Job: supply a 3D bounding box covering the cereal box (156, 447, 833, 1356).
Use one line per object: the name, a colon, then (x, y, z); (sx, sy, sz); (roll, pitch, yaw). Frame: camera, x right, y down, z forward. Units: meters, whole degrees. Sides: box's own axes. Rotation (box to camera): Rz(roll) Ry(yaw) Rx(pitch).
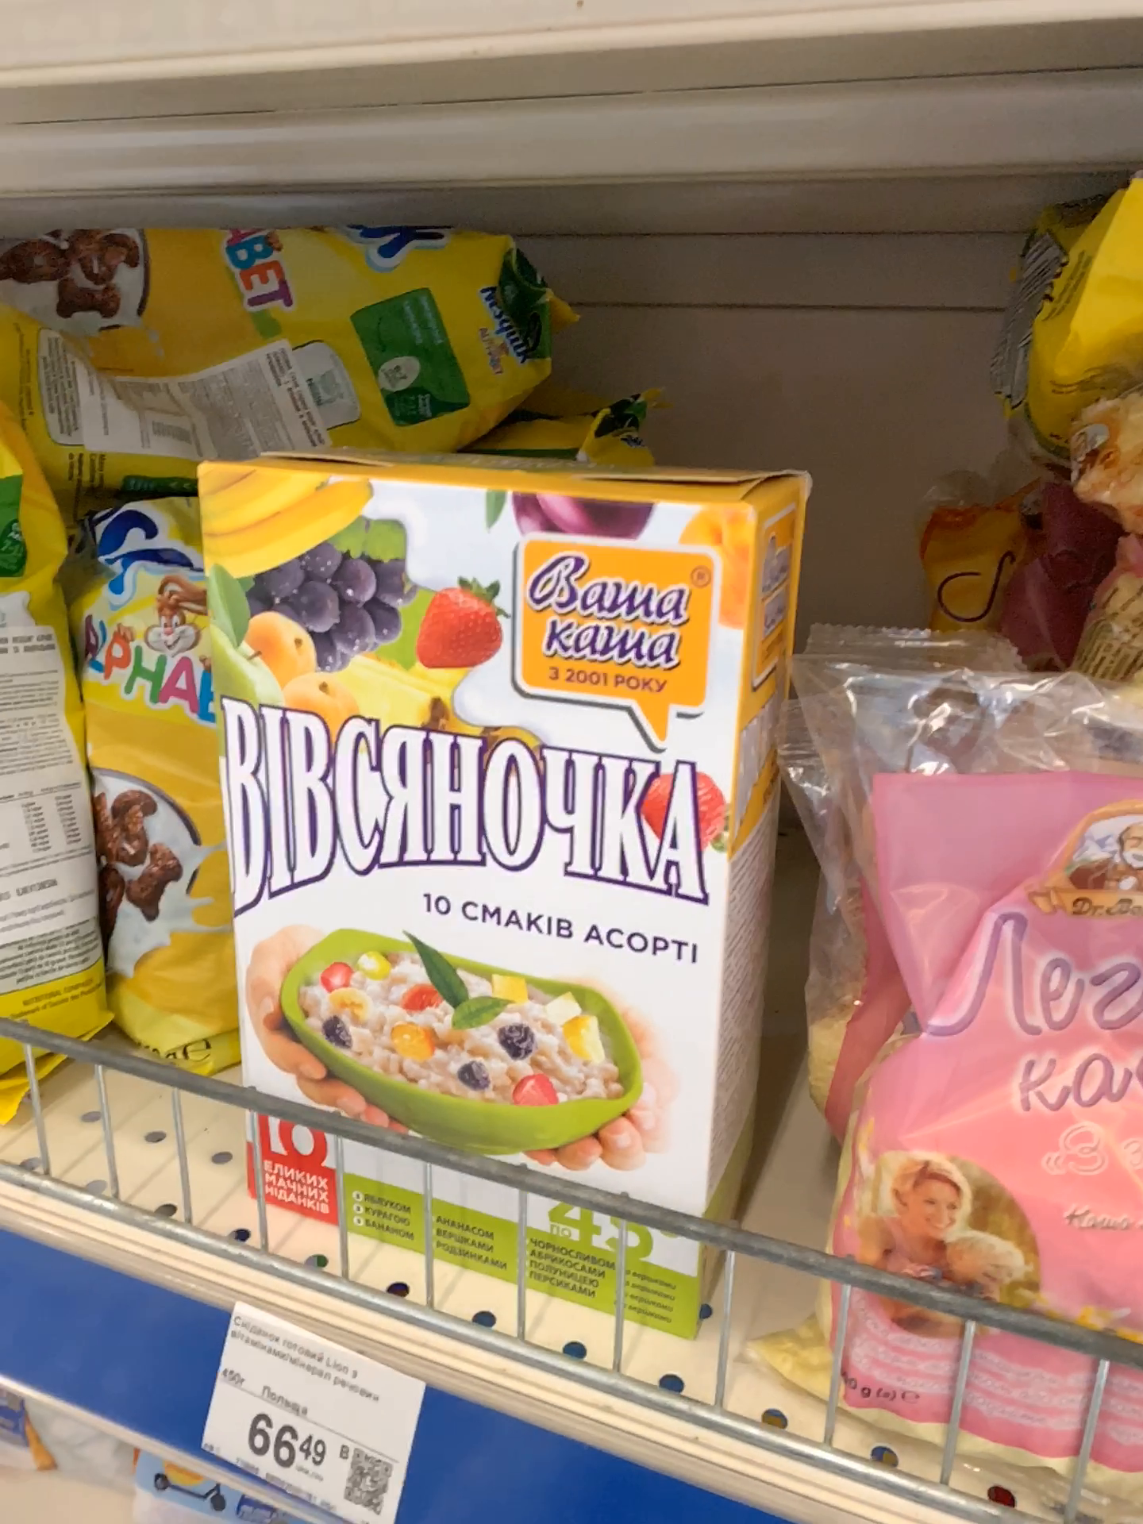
cereal box: (-0.020, 0.028, 0.319); (0.150, 0.209, 0.070); (9, 19, 21)
